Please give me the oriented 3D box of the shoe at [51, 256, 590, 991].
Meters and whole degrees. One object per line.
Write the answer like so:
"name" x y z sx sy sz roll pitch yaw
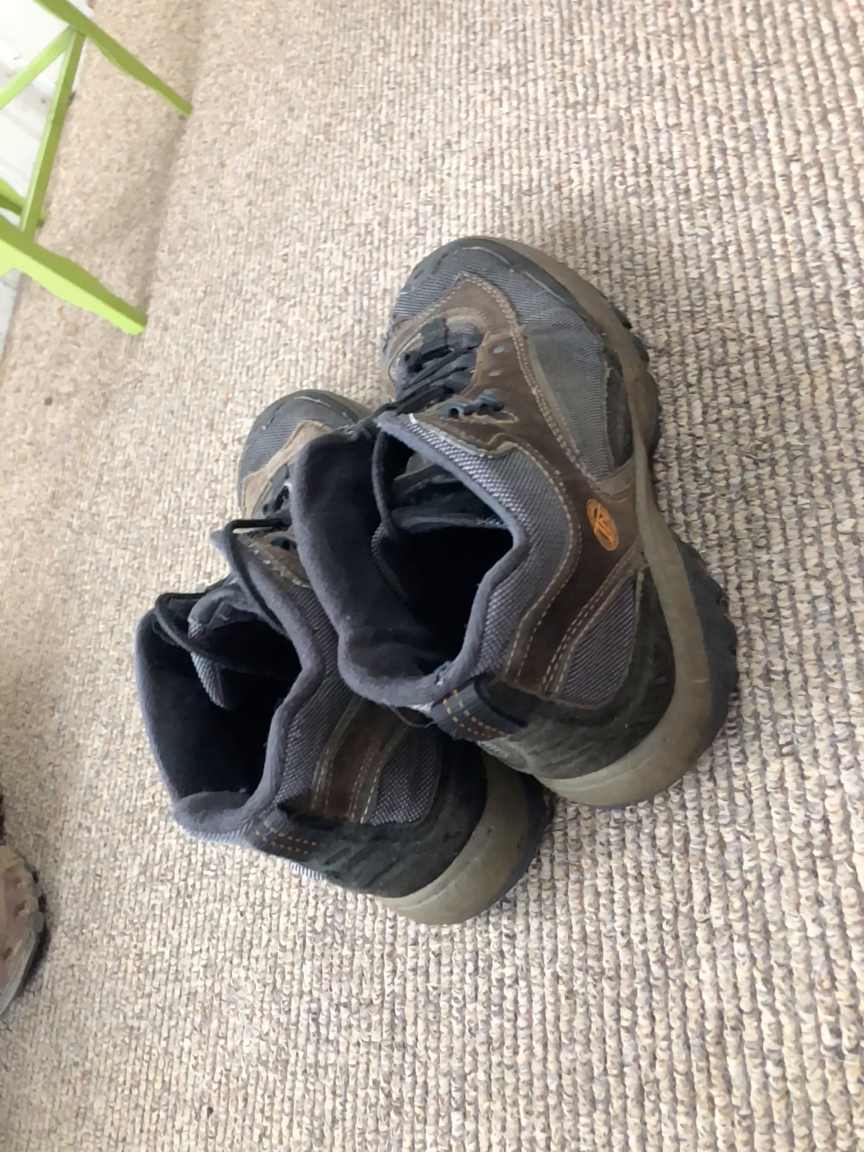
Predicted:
"shoe" -0.066 0.013 0.418 0.116 0.135 0.281 -39 48 21

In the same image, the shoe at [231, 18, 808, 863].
"shoe" 0.018 -0.053 0.375 0.118 0.137 0.281 -29 52 28
